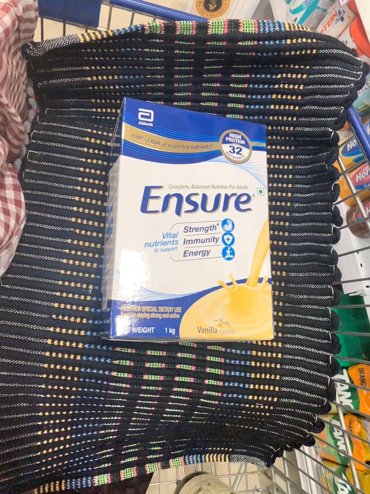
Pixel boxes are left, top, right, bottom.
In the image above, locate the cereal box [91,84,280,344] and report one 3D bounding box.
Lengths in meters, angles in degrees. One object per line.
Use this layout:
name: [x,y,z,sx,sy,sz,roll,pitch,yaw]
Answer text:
cereal box: [-0.003,-0.020,0.372,0.150,0.090,0.220,5,74,-17]
